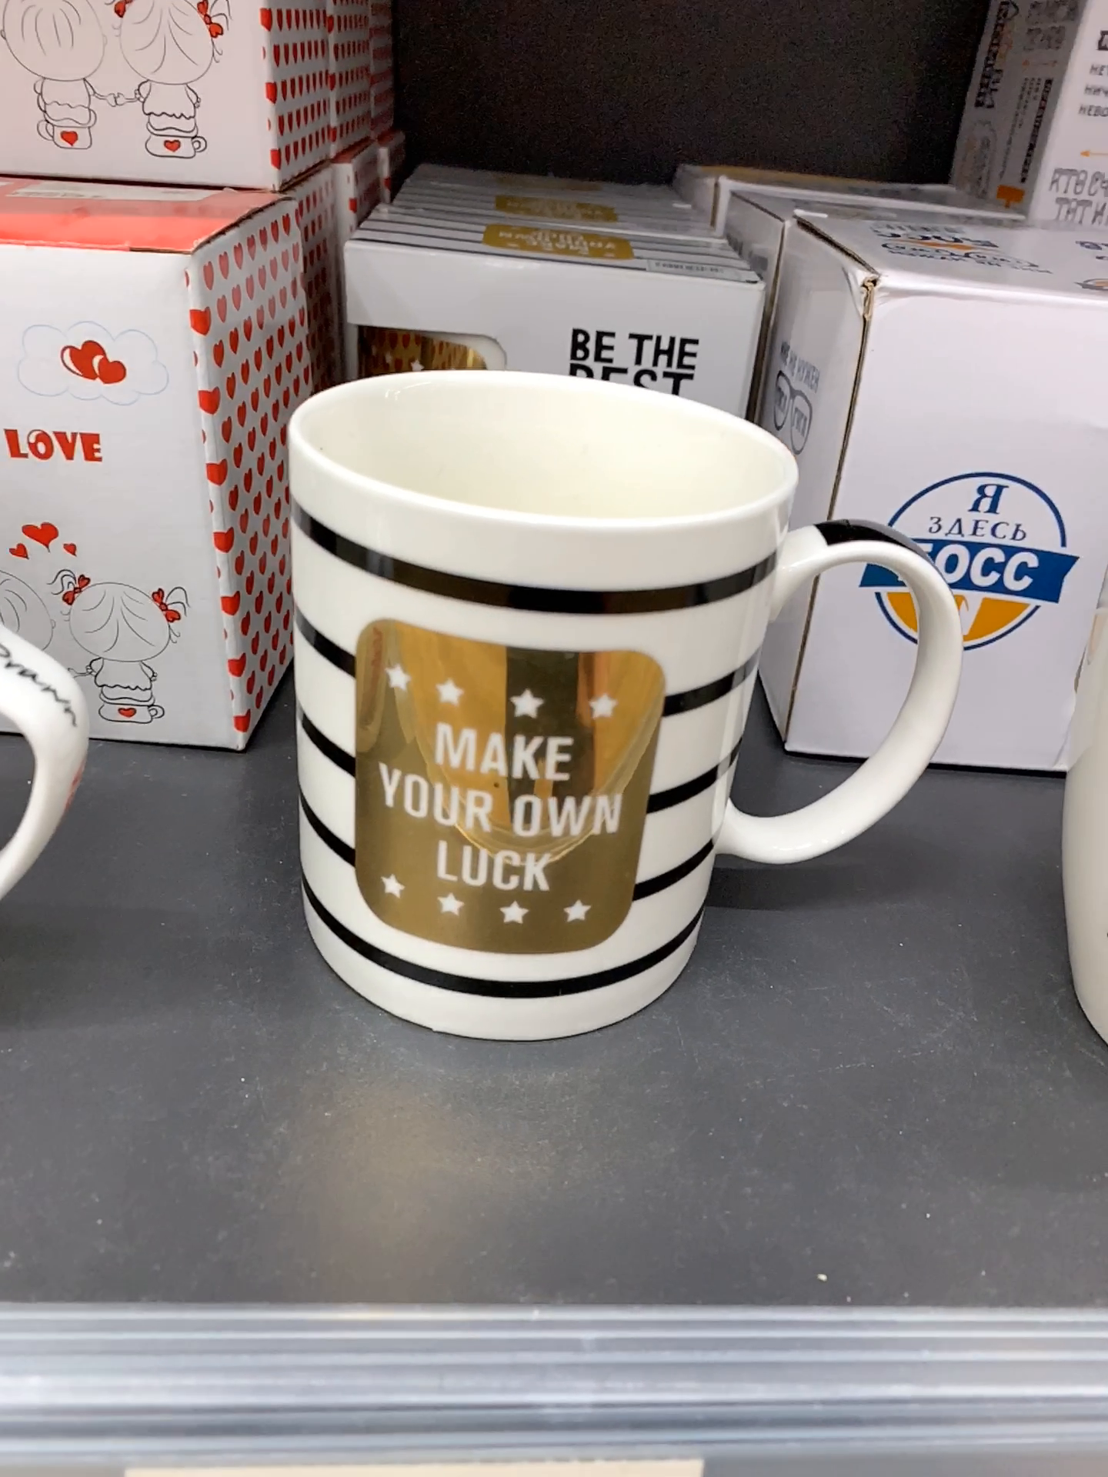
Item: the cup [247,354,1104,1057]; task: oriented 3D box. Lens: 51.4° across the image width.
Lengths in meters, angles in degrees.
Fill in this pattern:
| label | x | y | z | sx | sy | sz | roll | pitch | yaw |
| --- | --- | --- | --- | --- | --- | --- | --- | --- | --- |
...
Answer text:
| label | x | y | z | sx | sy | sz | roll | pitch | yaw |
| --- | --- | --- | --- | --- | --- | --- | --- | --- | --- |
| cup | 0.011 | -0.007 | 0.210 | 0.114 | 0.096 | 0.082 | 2 | 31 | -7 |
